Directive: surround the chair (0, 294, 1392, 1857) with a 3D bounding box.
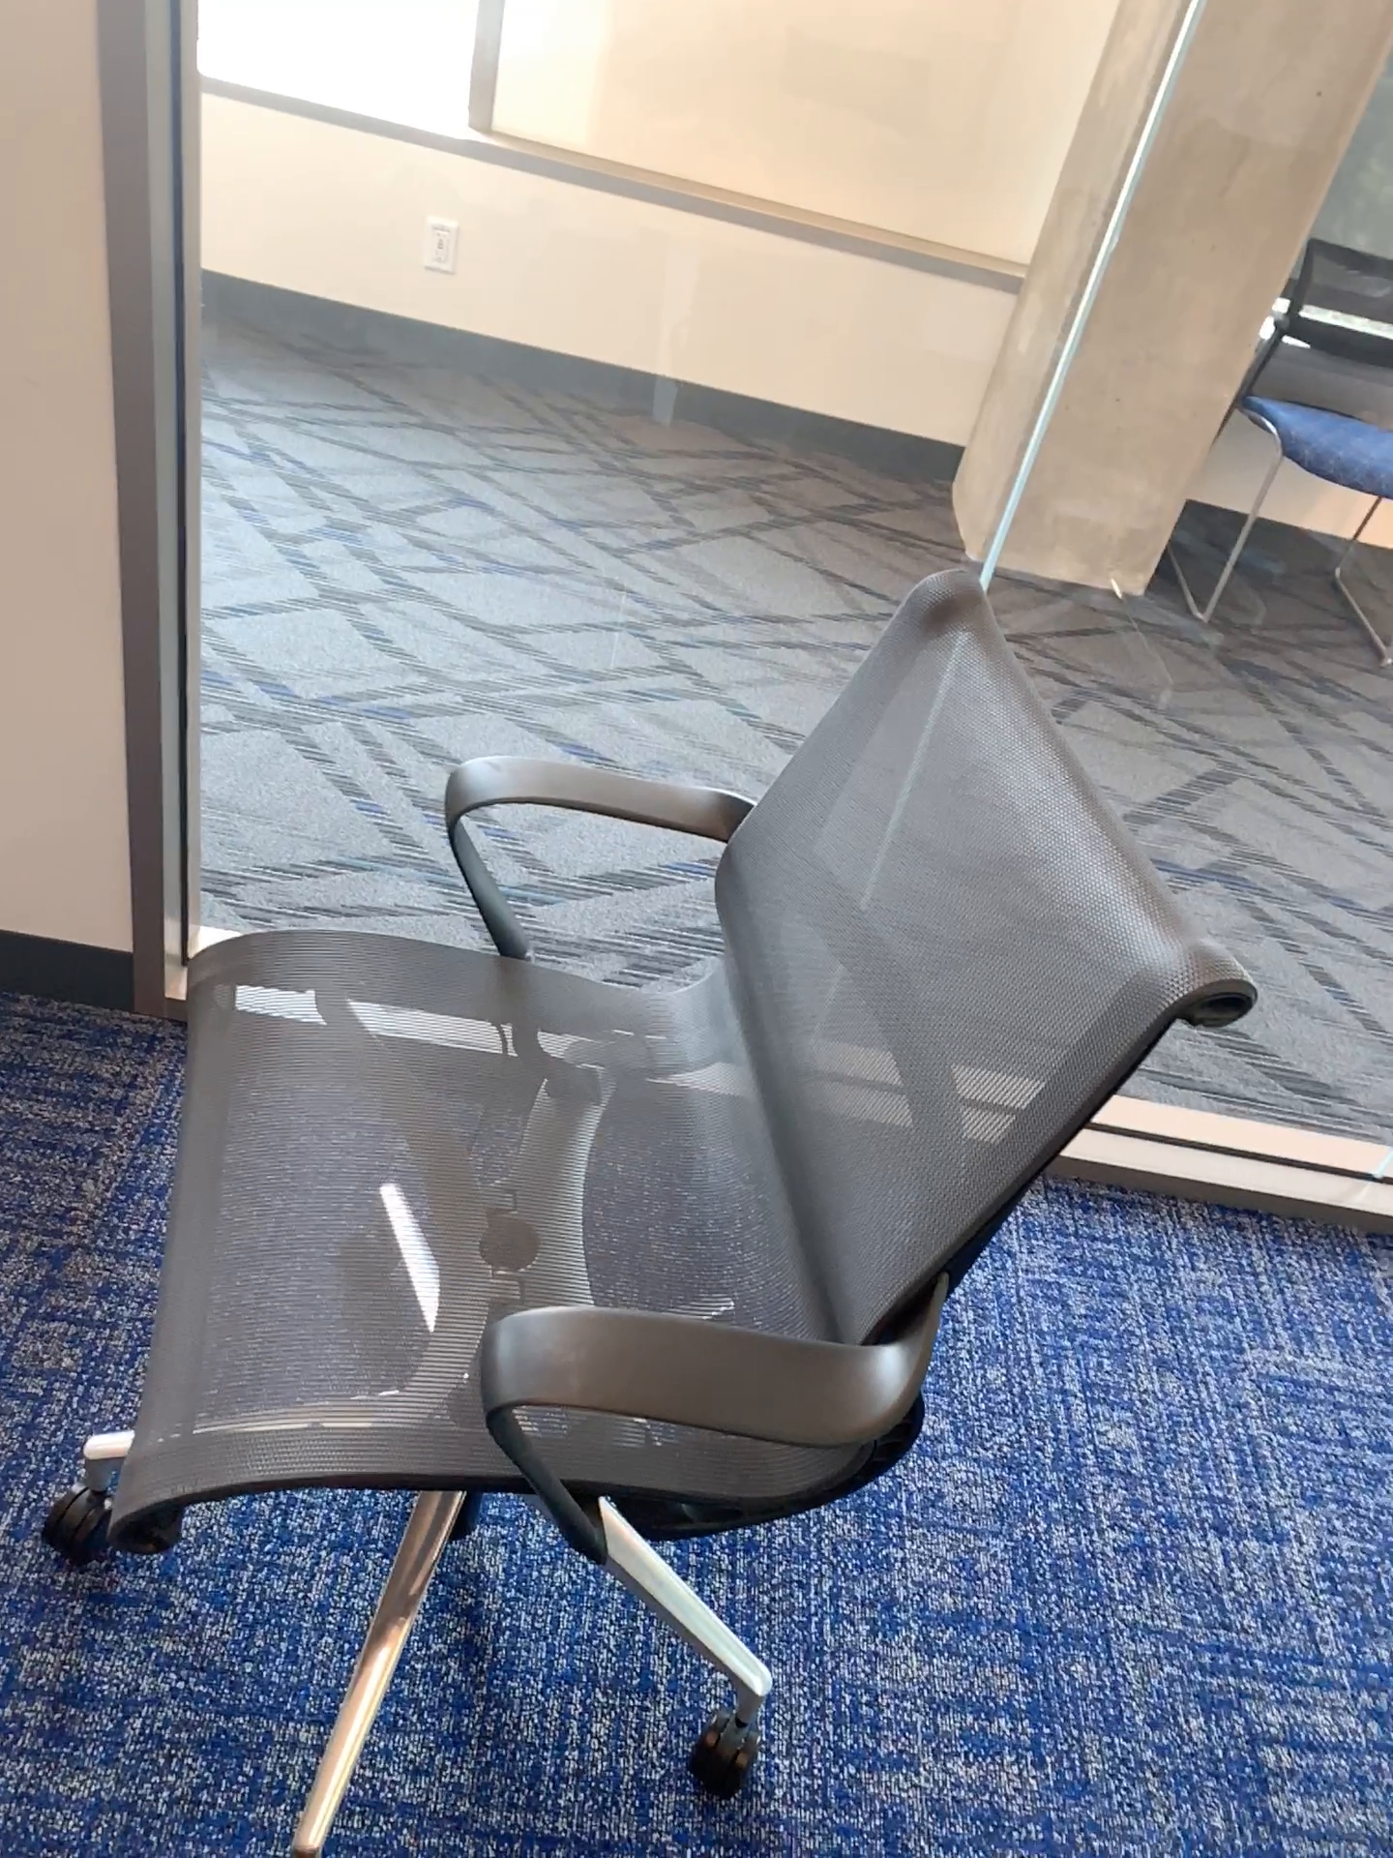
[{"bbox_3d":[-0.183,0.144,0.933,0.640,0.773,0.666,3,39,-16],"label":"chair"}]
